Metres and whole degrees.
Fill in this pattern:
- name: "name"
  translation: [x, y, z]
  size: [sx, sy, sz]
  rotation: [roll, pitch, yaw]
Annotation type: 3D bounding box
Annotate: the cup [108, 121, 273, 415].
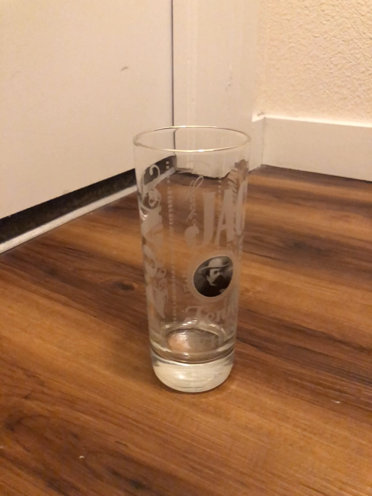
- name: "cup"
  translation: [-0.001, 0.010, 0.244]
  size: [0.067, 0.150, 0.068]
  rotation: [0, 26, 0]
